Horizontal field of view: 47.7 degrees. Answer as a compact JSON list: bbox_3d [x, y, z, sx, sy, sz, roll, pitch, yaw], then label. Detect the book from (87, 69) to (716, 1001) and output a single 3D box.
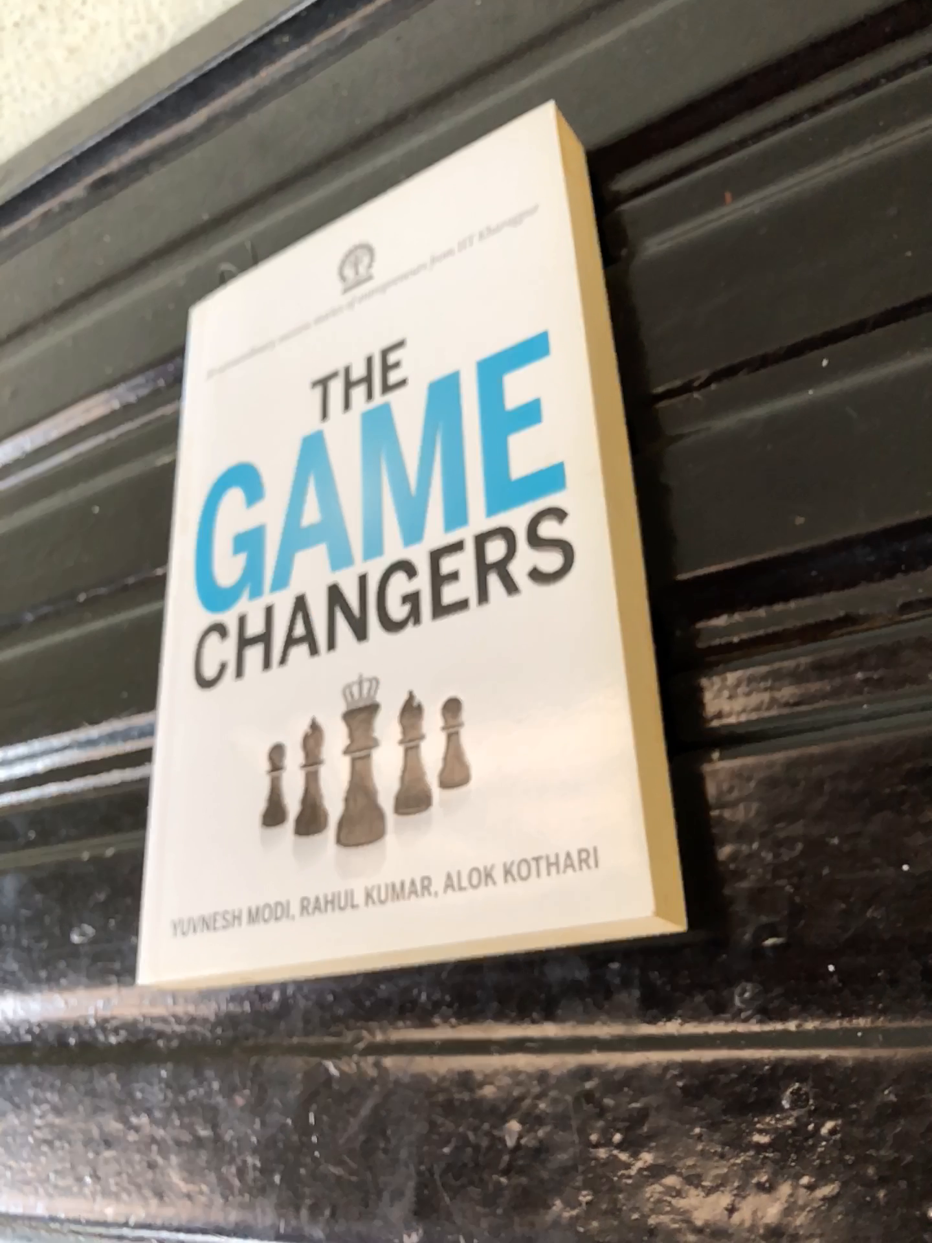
[{"bbox_3d":[-0.023,-0.018,0.246,0.130,0.030,0.190,-17,63,28],"label":"book"}]
